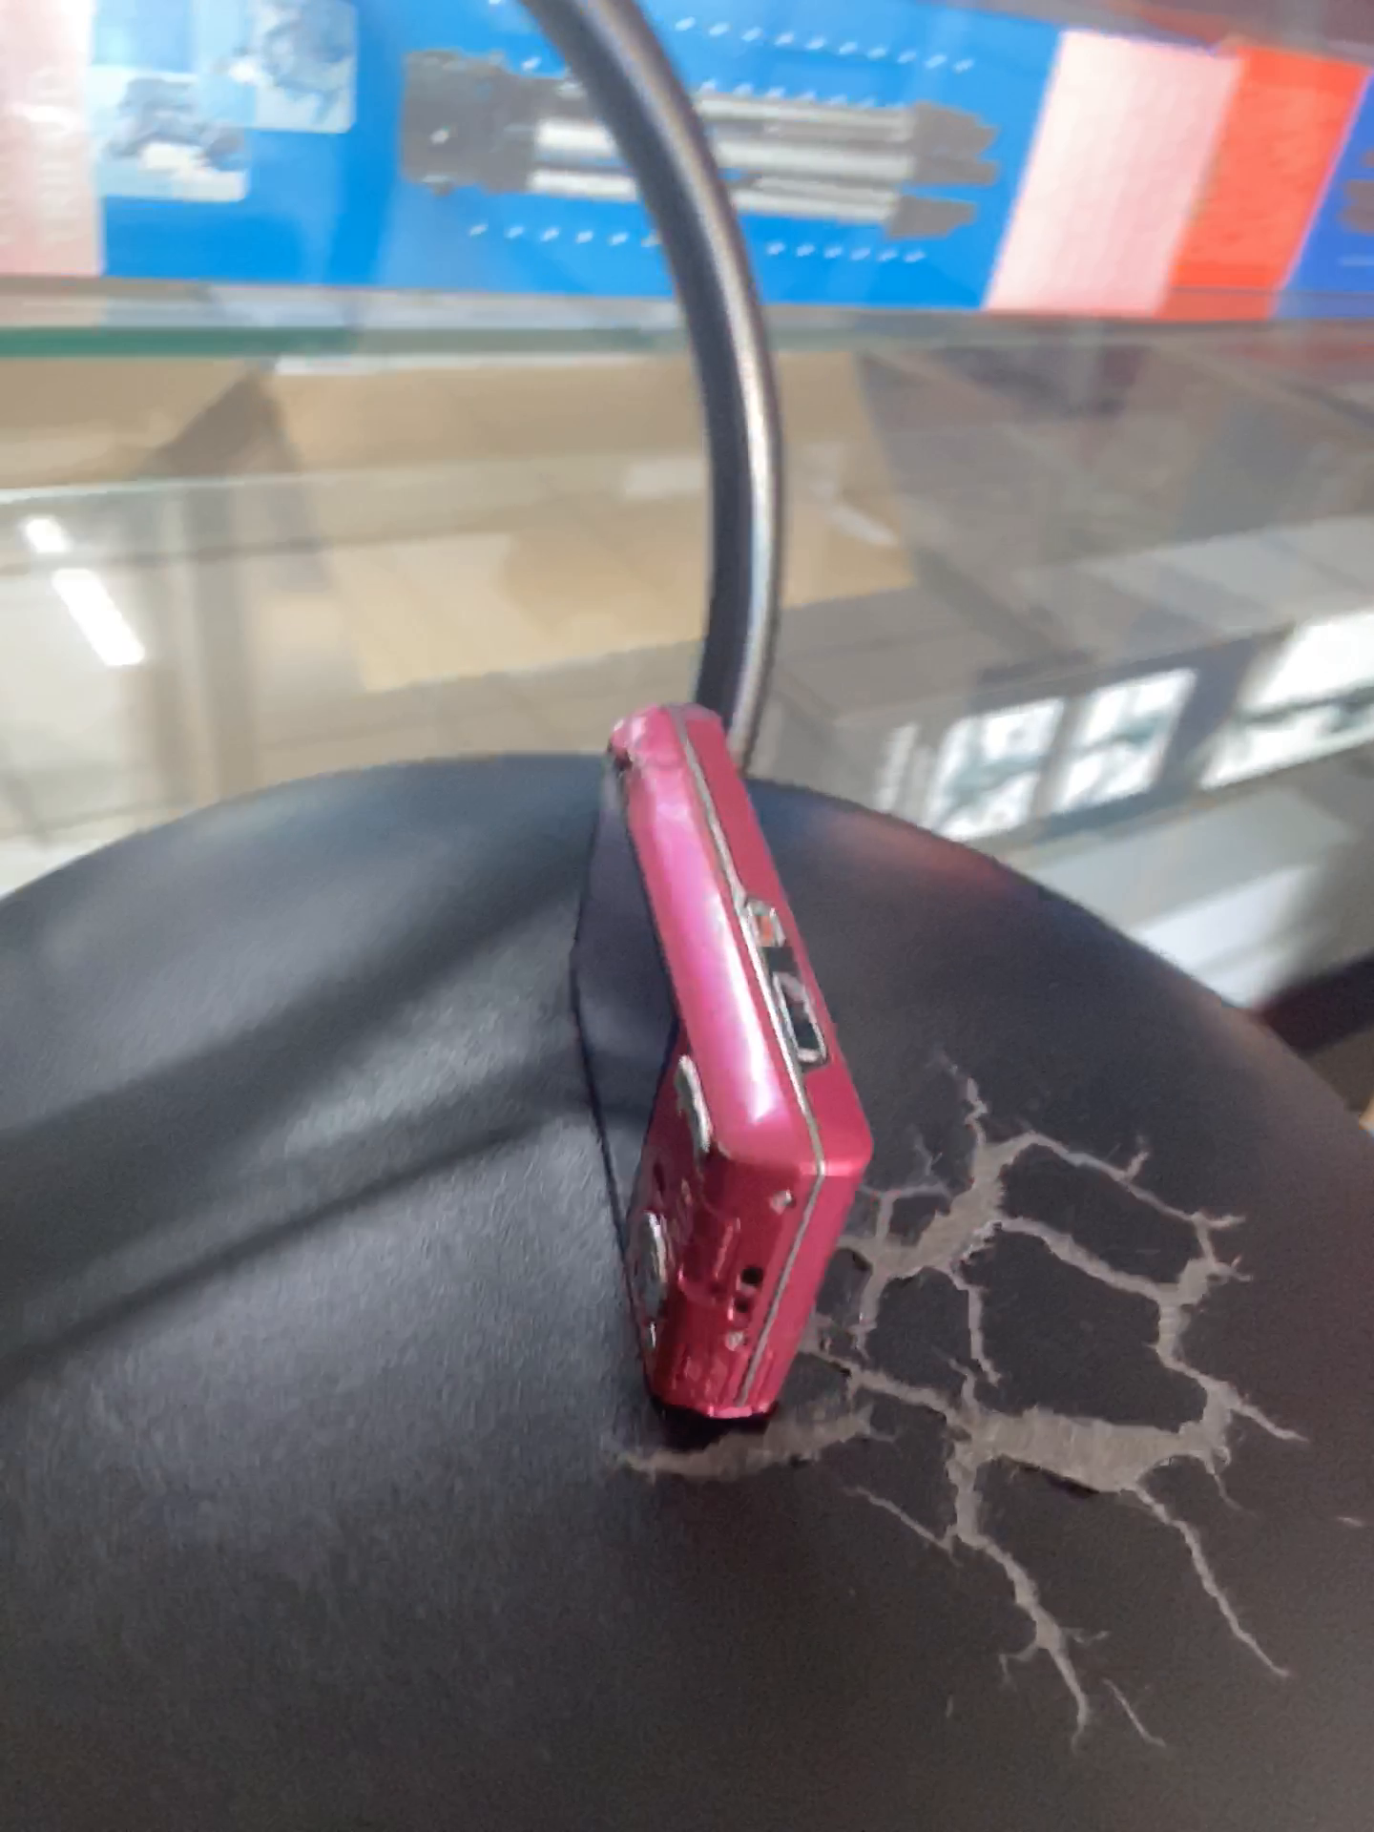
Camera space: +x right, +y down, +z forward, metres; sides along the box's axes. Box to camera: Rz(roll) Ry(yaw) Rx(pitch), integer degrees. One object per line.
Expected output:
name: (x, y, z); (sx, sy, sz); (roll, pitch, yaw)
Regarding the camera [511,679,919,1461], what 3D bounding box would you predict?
camera: (-0.003, 0.016, 0.202); (0.030, 0.050, 0.101); (1, 40, -14)
